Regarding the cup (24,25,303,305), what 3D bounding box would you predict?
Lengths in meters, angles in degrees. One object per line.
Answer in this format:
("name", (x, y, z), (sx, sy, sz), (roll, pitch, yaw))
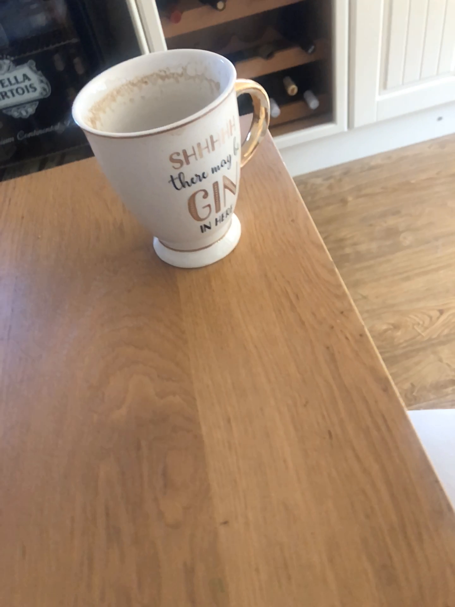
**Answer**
("cup", (-0.037, -0.101, 0.354), (0.135, 0.111, 0.109), (-35, 51, -17))
